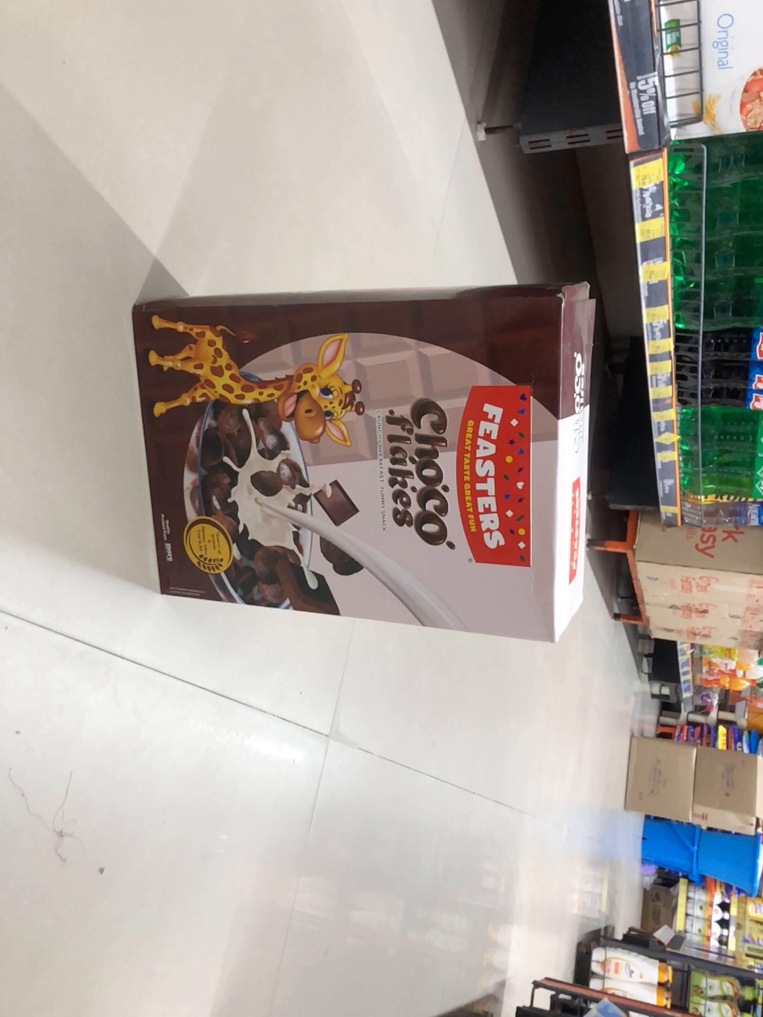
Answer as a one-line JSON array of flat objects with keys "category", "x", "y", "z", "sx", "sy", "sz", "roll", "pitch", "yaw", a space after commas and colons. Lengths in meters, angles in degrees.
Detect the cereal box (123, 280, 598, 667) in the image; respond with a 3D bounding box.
[{"category": "cereal box", "x": -0.015, "y": -0.025, "z": 0.496, "sx": 0.050, "sy": 0.268, "sz": 0.200, "roll": -33, "pitch": 123, "yaw": -64}]
